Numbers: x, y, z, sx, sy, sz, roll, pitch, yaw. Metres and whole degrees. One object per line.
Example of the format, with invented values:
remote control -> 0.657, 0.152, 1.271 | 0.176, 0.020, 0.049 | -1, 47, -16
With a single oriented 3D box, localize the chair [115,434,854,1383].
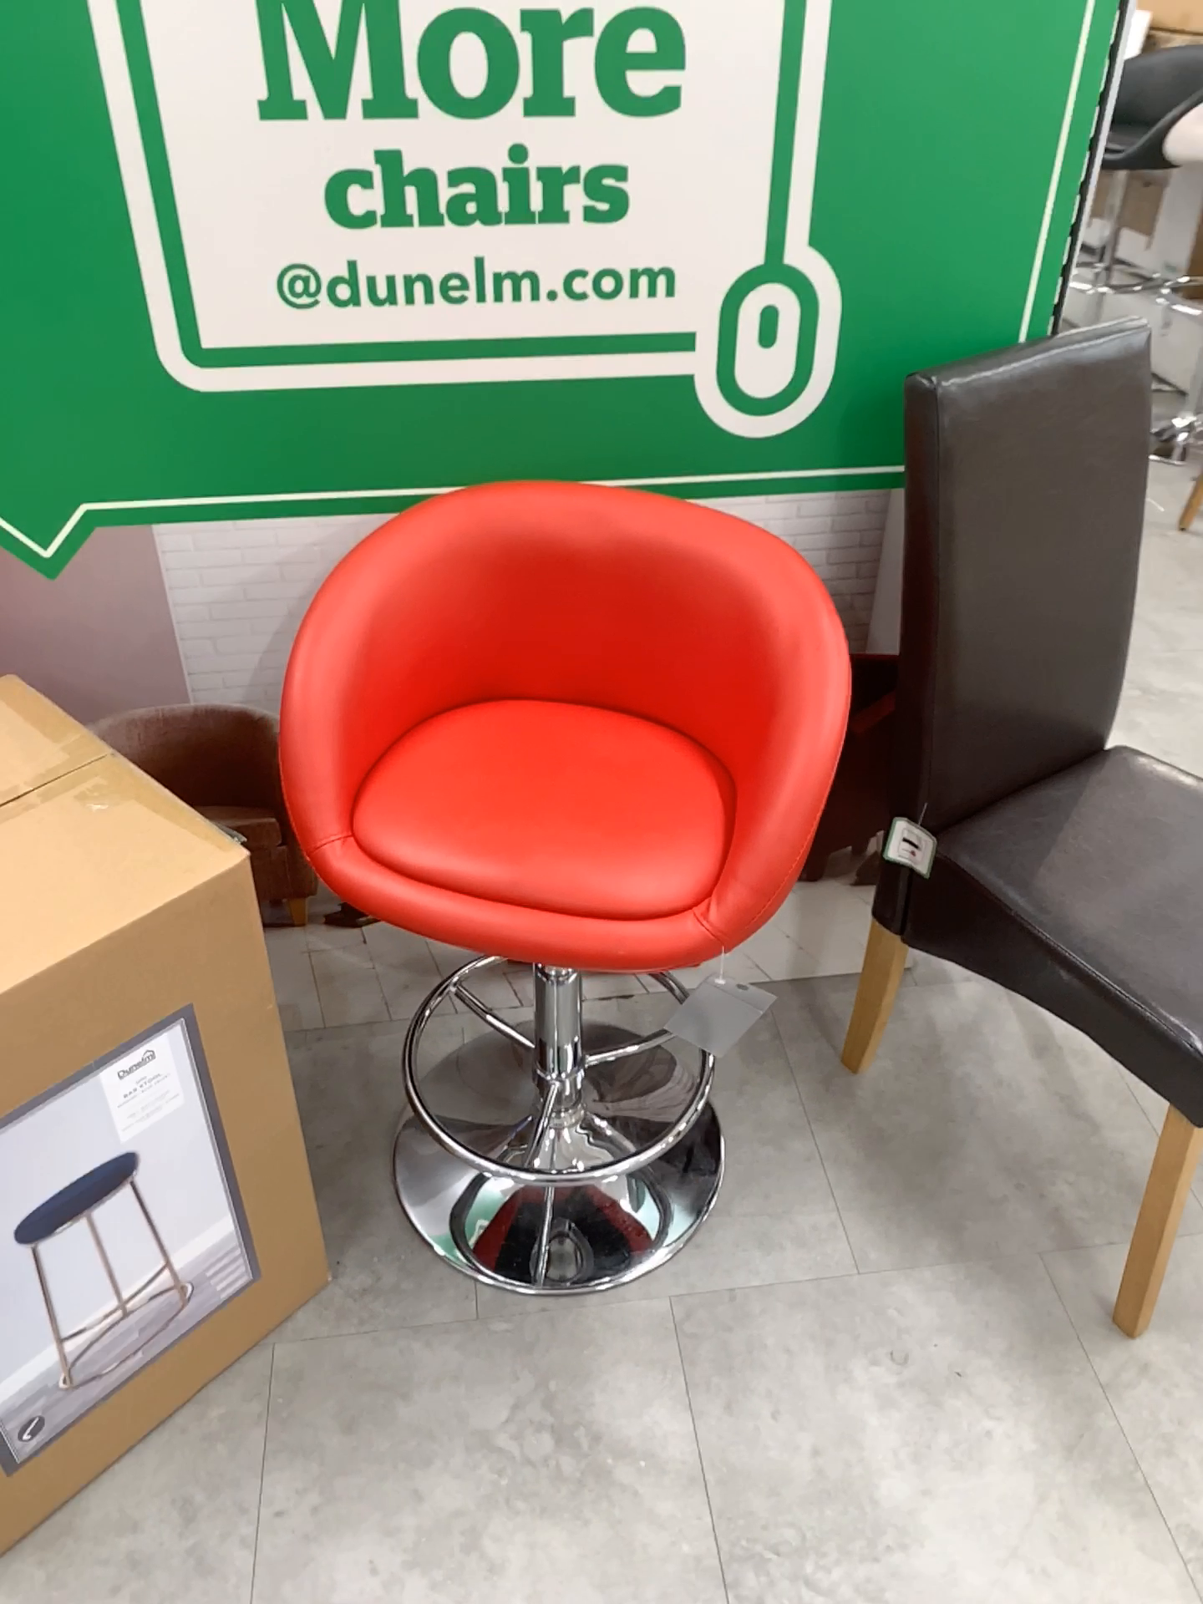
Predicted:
chair -> -0.056, 0.102, 1.257 | 0.495, 0.761, 0.481 | 8, 36, 11

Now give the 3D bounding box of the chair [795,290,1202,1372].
chair -> 0.589, 0.026, 1.311 | 0.446, 0.919, 0.521 | -22, 41, -28
